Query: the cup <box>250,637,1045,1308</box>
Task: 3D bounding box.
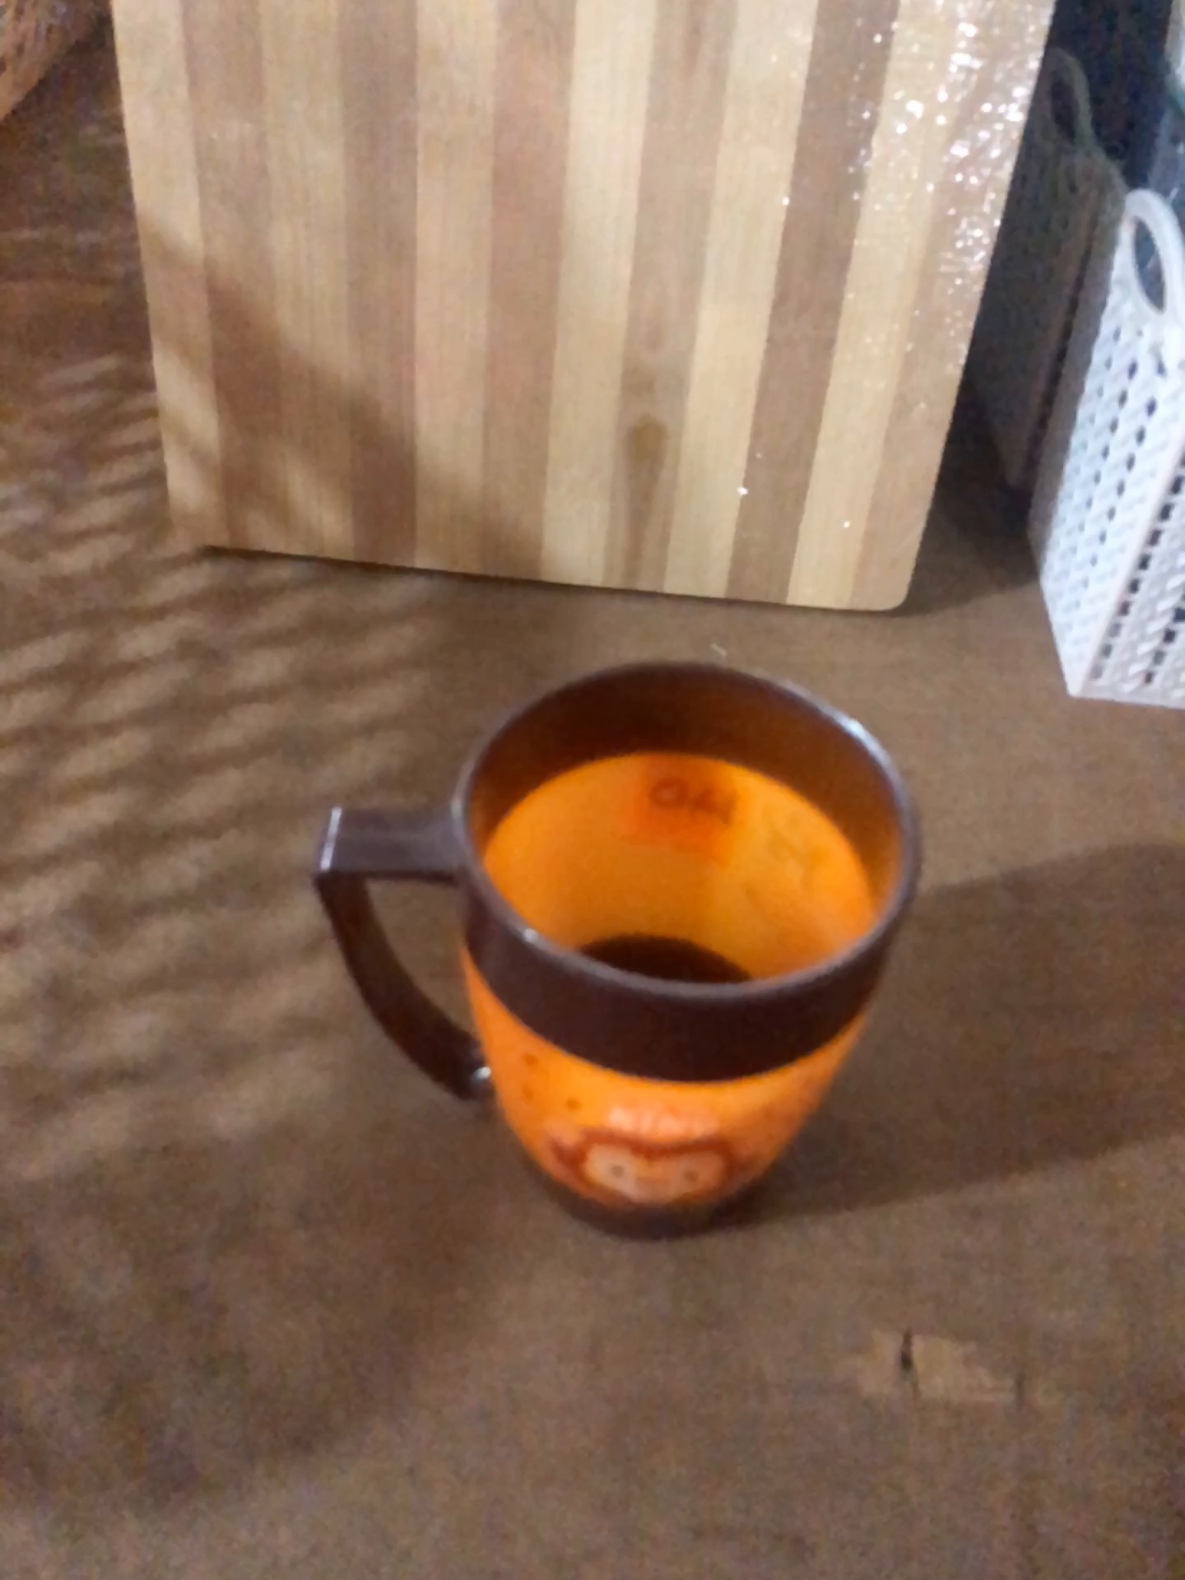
[{"bbox_3d":[0.008,0.033,0.216,0.100,0.090,0.060,6,48,2],"label":"cup"}]
